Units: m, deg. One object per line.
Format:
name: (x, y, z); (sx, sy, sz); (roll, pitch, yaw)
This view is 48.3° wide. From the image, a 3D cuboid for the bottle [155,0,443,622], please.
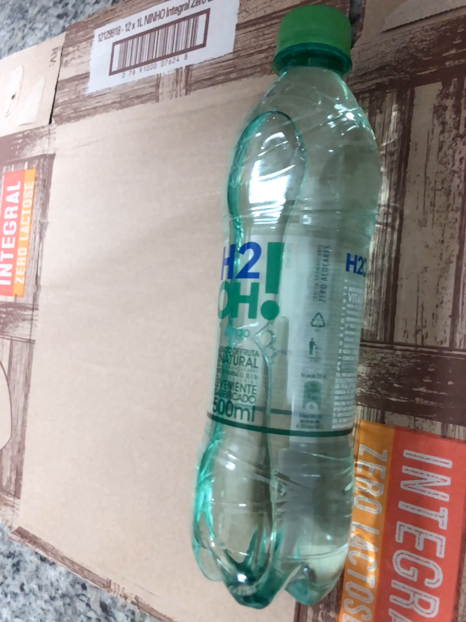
bottle: (0.027, -0.011, 0.203); (0.070, 0.050, 0.250); (4, 87, 37)
